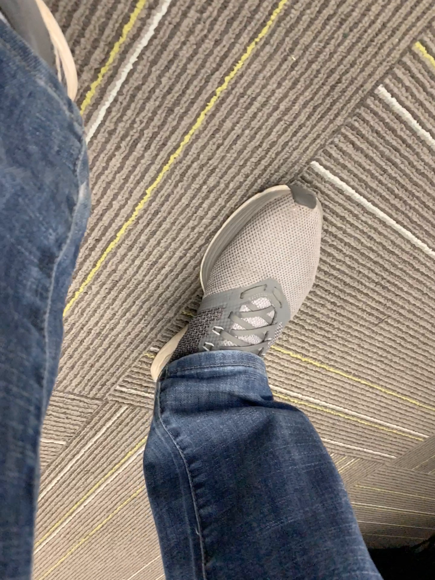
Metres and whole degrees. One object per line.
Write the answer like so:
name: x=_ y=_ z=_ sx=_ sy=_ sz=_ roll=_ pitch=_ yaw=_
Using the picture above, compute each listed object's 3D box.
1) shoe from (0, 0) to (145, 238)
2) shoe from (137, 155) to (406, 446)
shoe: x=-0.168 y=-0.187 z=0.182 sx=0.131 sy=0.092 sz=0.315 roll=-24 pitch=134 yaw=7
shoe: x=0.029 y=0.036 z=0.459 sx=0.128 sy=0.092 sz=0.301 roll=11 pitch=128 yaw=-25
